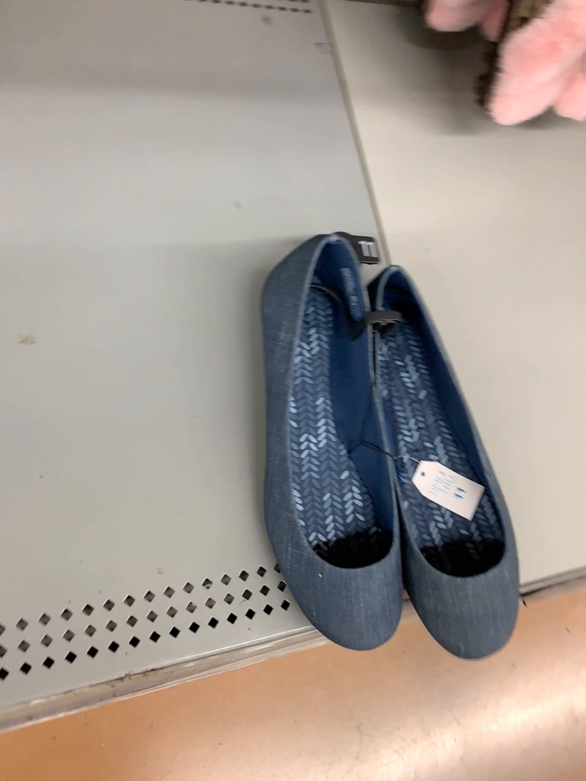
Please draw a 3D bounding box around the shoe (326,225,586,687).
[{"bbox_3d":[0.105,0.037,0.419,0.090,0.090,0.280,-8,77,-12],"label":"shoe"}]

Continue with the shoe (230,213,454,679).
[{"bbox_3d":[0.021,0.028,0.408,0.090,0.090,0.280,-4,75,-14],"label":"shoe"}]
